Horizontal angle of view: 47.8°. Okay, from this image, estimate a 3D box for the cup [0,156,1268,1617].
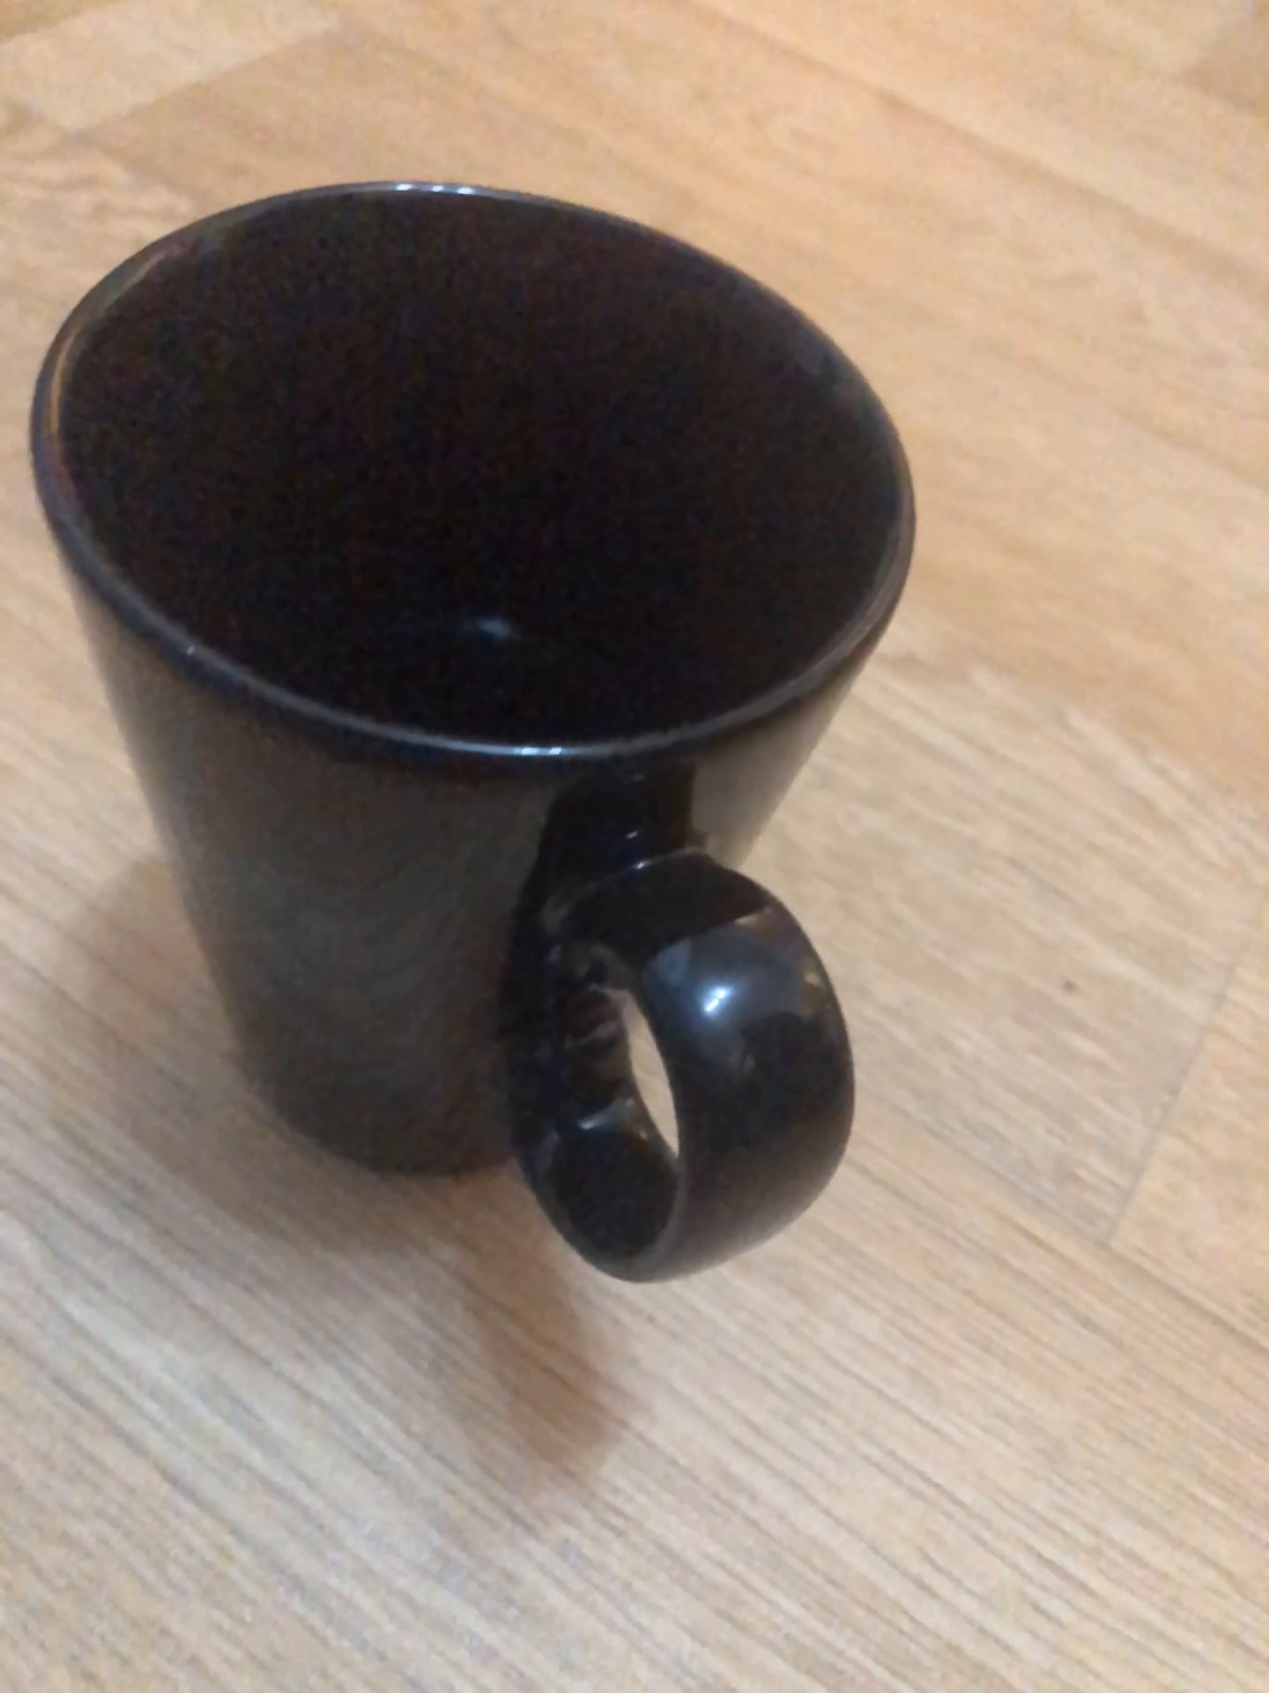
[{"bbox_3d":[-0.010,-0.002,0.165,0.090,0.090,0.120,-15,57,-22],"label":"cup"}]
